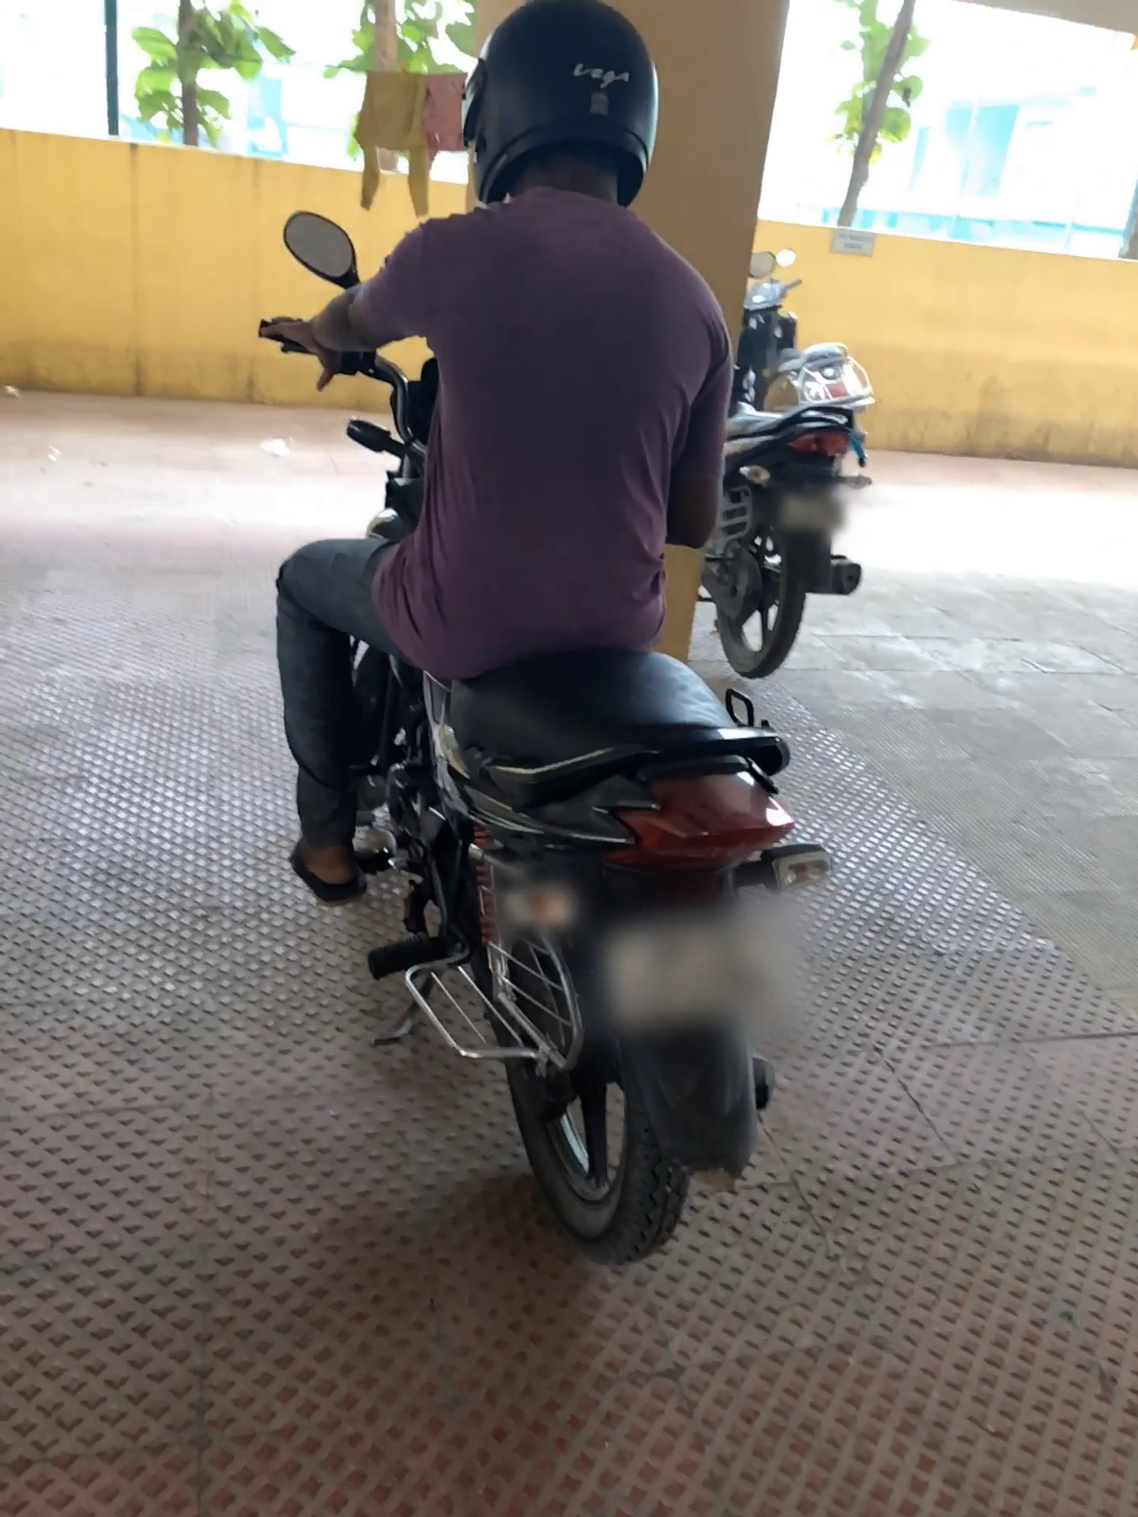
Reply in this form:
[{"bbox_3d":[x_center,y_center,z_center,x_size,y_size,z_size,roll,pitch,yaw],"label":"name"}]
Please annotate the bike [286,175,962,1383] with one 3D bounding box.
[{"bbox_3d":[-0.123,-0.203,2.048,0.632,1.063,1.654,0,30,-15],"label":"bike"}]
